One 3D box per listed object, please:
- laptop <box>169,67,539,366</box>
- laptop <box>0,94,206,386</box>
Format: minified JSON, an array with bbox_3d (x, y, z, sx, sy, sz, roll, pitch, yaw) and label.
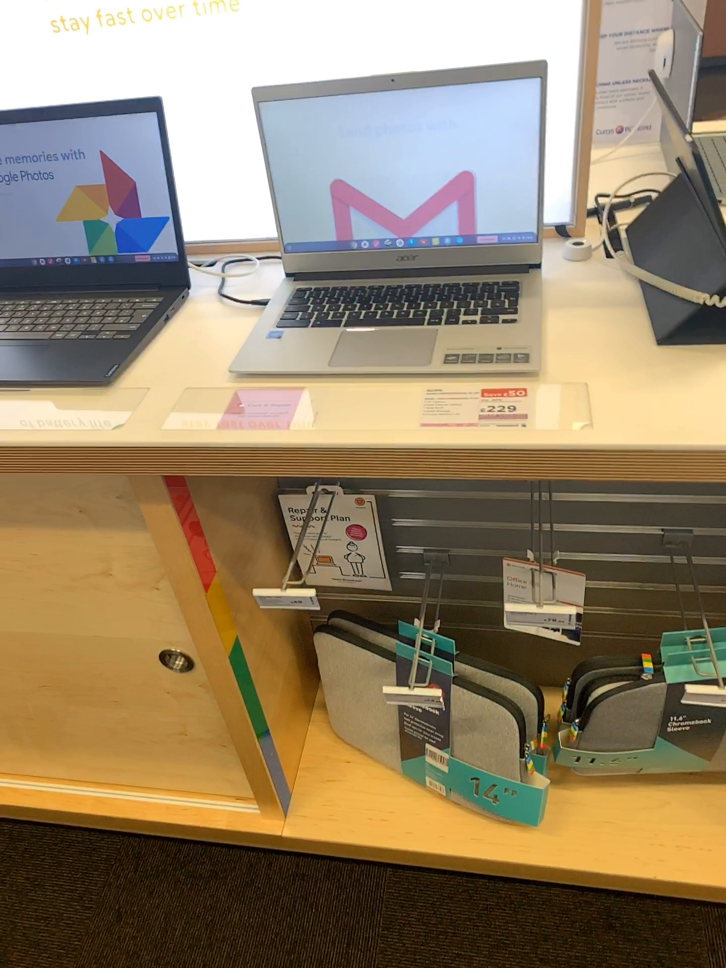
[{"bbox_3d":[0.014,-0.271,0.751,0.303,0.206,0.238,1,39,10],"label":"laptop"},{"bbox_3d":[-0.401,-0.281,0.844,0.308,0.204,0.285,3,41,13],"label":"laptop"}]
